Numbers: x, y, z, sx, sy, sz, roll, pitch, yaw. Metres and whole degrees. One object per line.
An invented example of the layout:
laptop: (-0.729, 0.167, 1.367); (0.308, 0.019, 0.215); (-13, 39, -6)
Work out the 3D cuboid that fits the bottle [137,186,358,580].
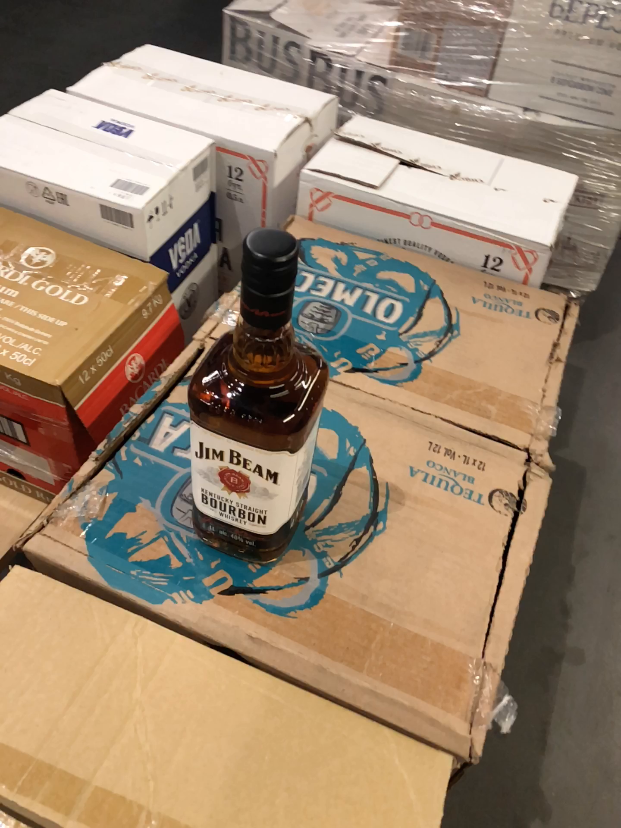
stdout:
bottle: (-0.042, -0.004, 0.459); (0.090, 0.258, 0.087); (3, 48, -4)
